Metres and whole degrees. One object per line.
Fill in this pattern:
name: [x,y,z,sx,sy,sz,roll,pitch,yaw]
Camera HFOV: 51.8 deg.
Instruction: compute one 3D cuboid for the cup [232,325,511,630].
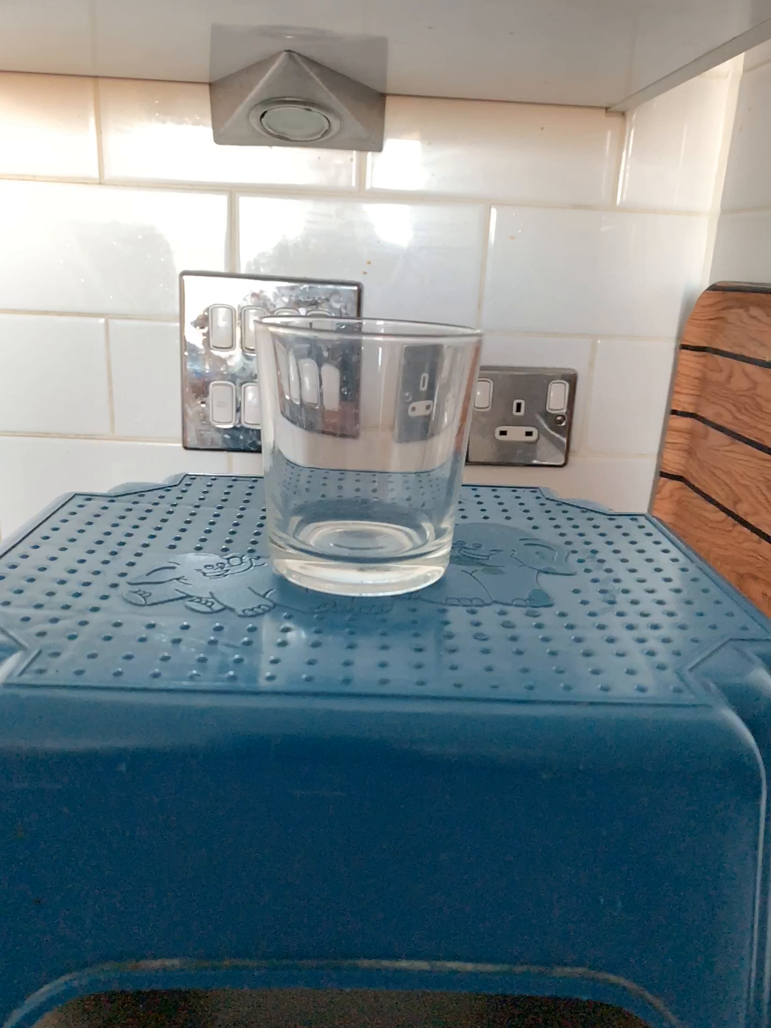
cup: [-0.003,-0.019,0.280,0.076,0.085,0.067,8,18,17]
